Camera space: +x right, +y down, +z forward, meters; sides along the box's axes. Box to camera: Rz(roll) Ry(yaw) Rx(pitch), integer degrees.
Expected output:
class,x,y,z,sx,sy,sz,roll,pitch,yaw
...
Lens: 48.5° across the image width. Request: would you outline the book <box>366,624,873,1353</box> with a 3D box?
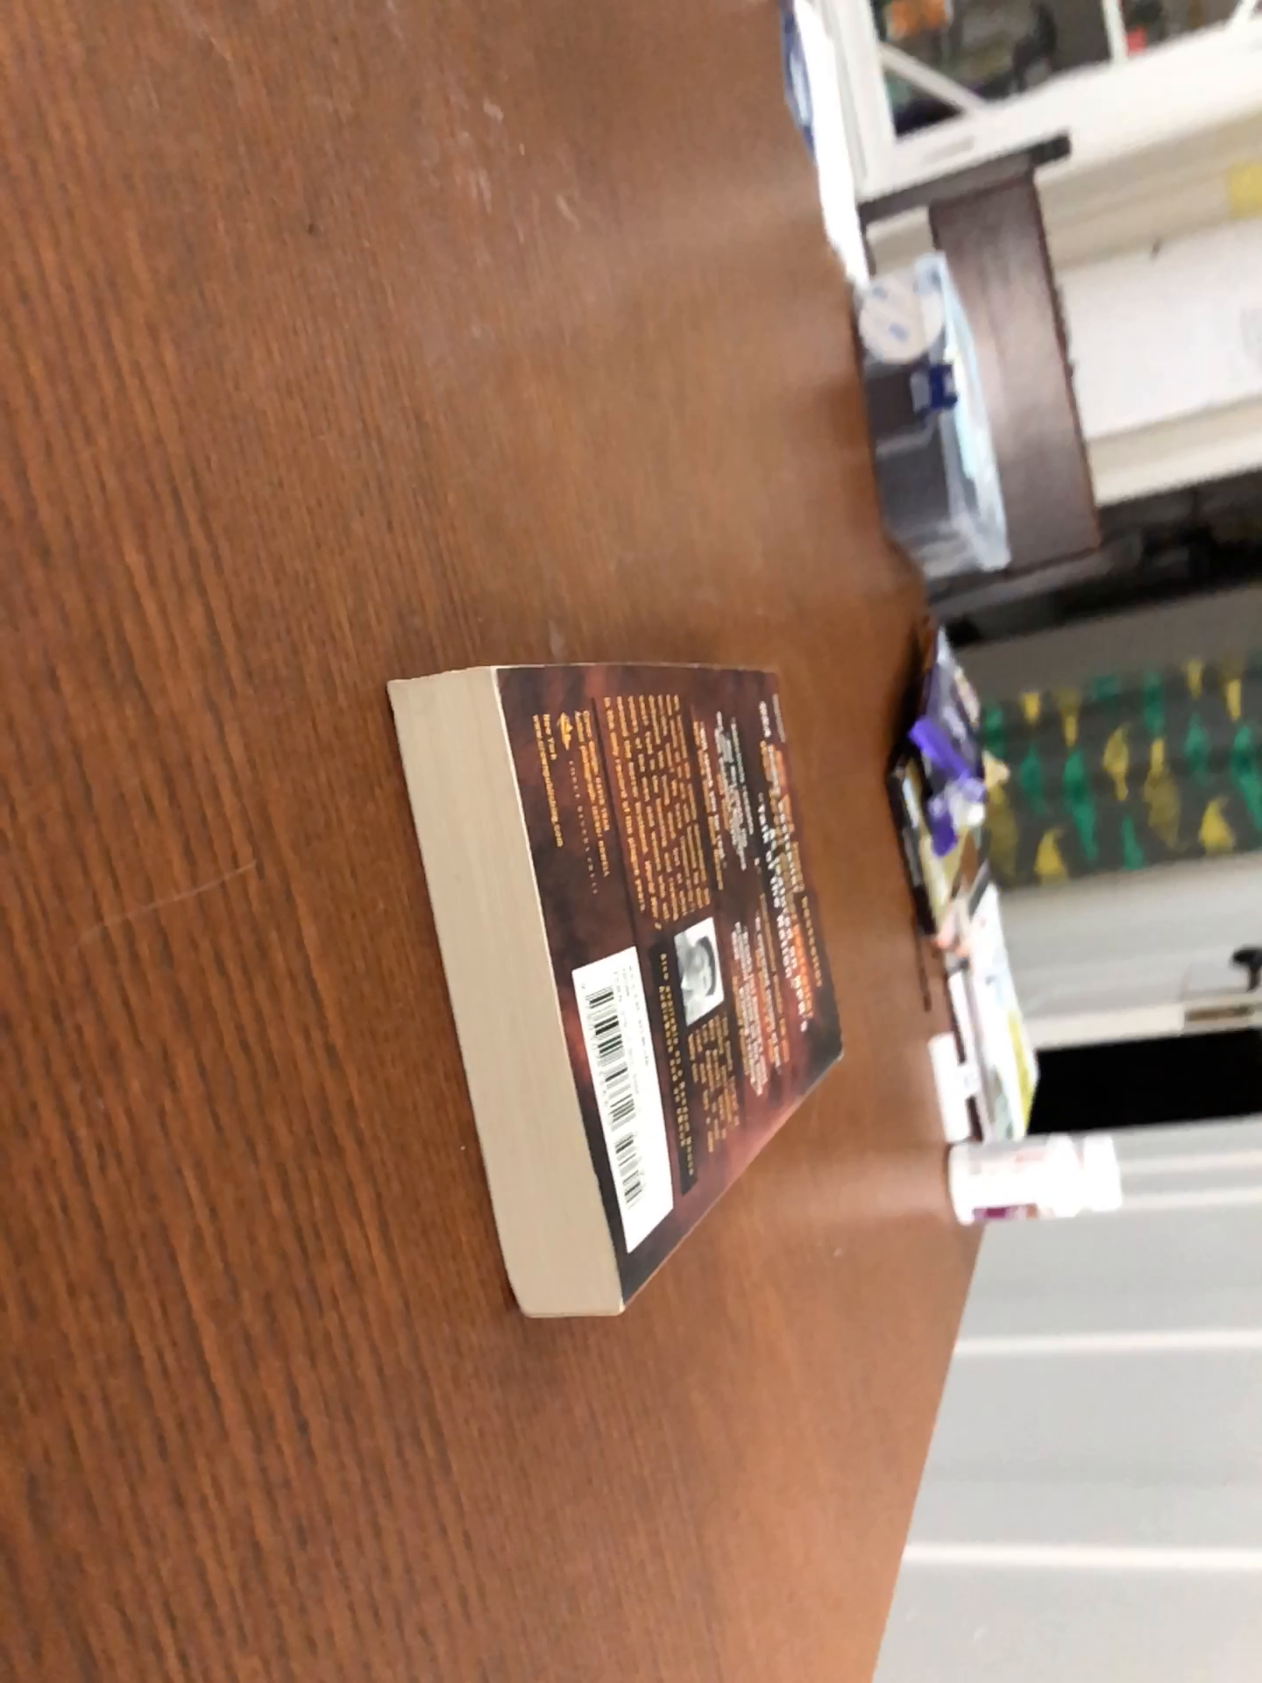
class,x,y,z,sx,sy,sz,roll,pitch,yaw
book,0.015,0.020,0.373,0.221,0.030,0.140,-13,93,-68
